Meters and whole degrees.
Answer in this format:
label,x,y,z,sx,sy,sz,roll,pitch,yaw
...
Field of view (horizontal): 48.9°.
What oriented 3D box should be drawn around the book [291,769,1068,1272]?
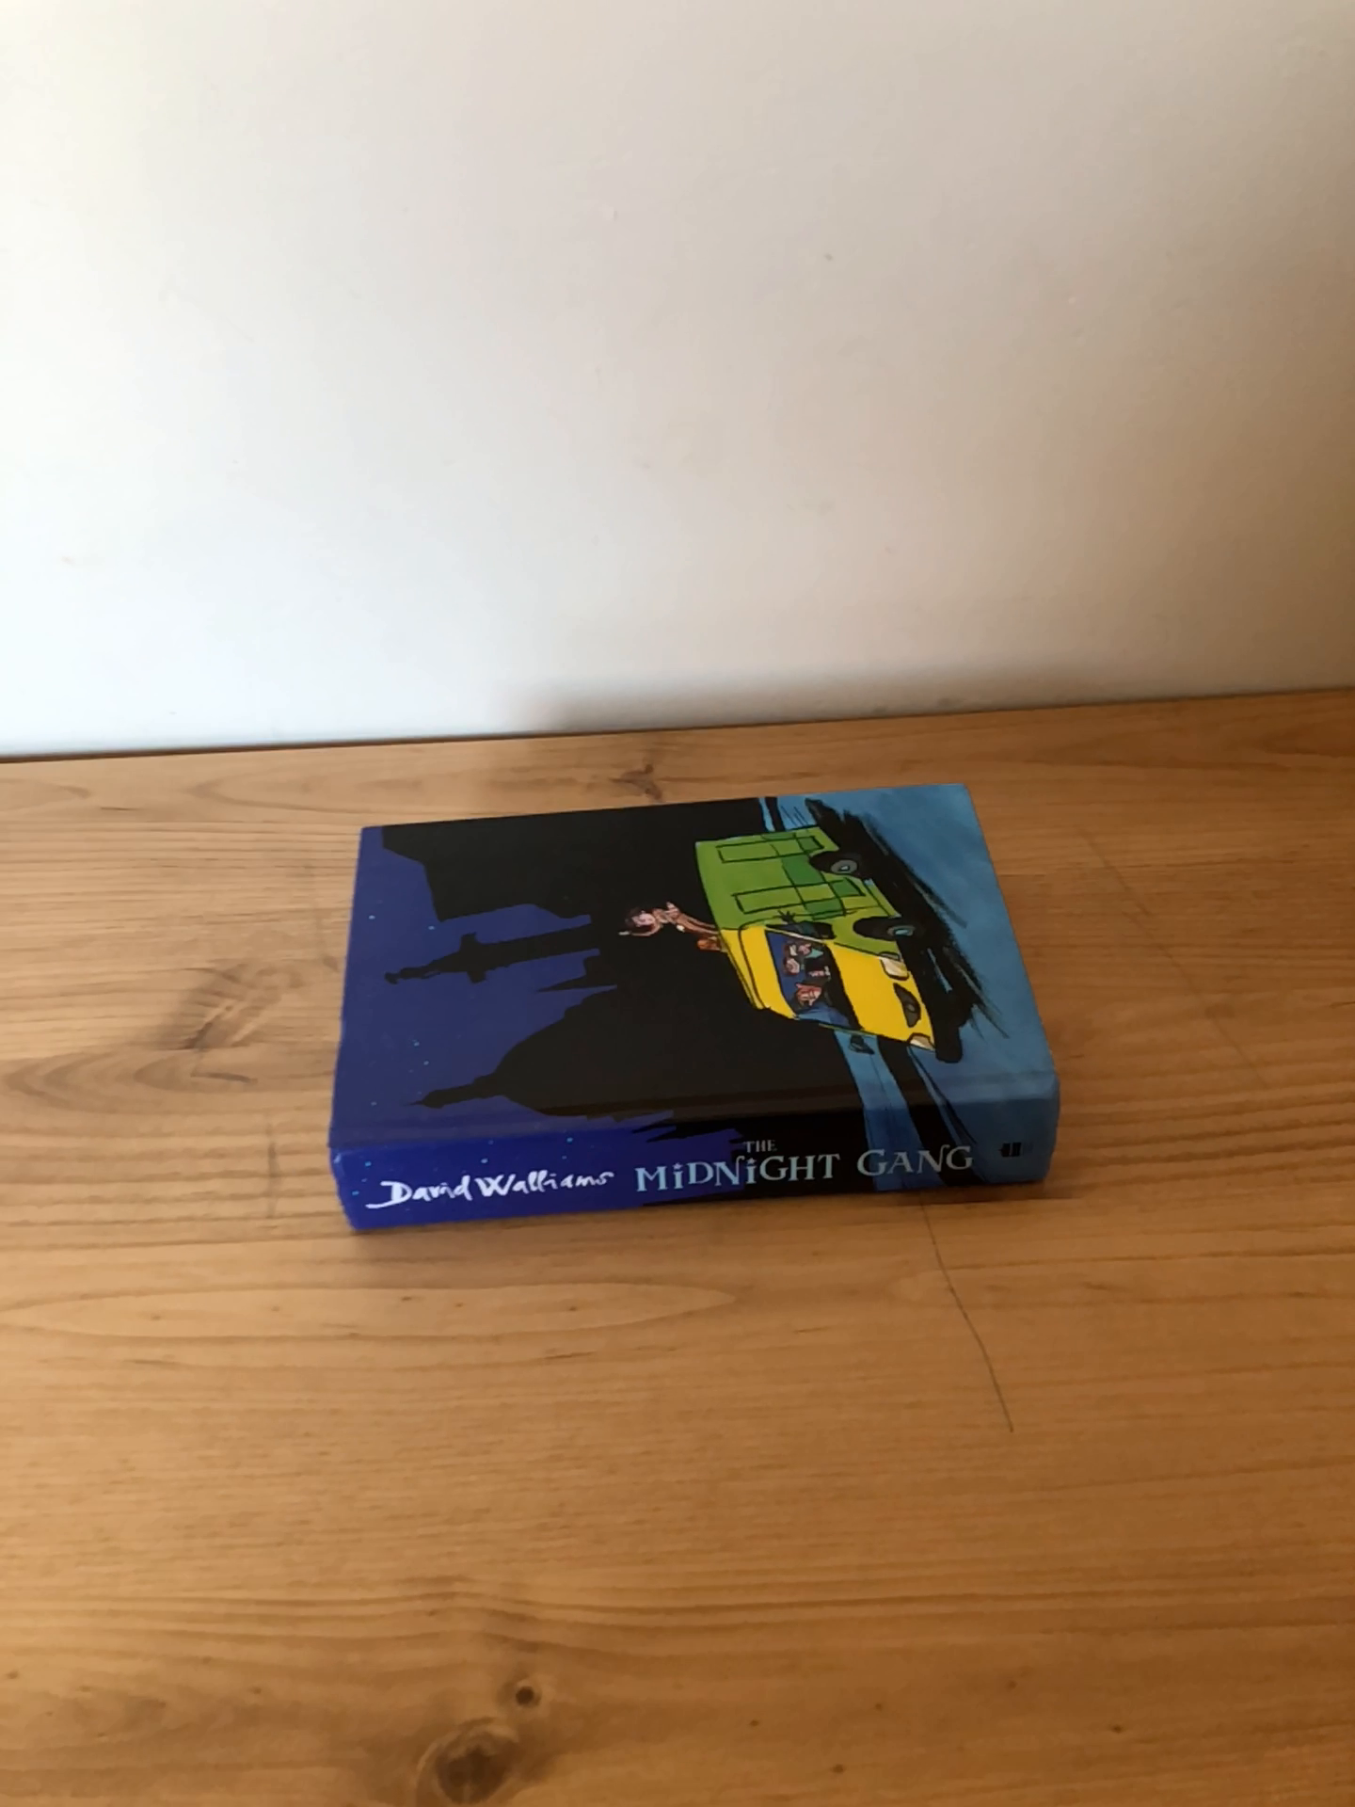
label,x,y,z,sx,sy,sz,roll,pitch,yaw
book,-0.003,0.036,0.527,0.237,0.060,0.154,-5,47,-1
